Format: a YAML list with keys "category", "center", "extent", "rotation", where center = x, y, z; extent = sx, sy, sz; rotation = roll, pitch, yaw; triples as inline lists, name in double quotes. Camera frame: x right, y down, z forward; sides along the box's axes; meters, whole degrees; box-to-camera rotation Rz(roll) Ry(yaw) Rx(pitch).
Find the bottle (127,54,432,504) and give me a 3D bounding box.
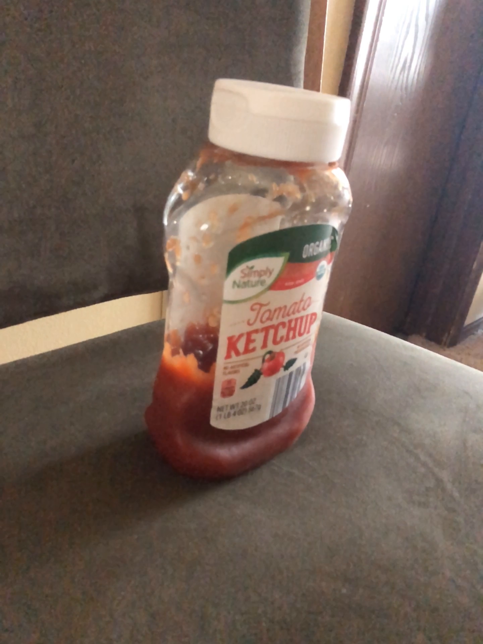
- category: "bottle"
  center: [0.009, -0.020, 0.241]
  extent: [0.100, 0.170, 0.060]
  rotation: [-16, 35, -38]
